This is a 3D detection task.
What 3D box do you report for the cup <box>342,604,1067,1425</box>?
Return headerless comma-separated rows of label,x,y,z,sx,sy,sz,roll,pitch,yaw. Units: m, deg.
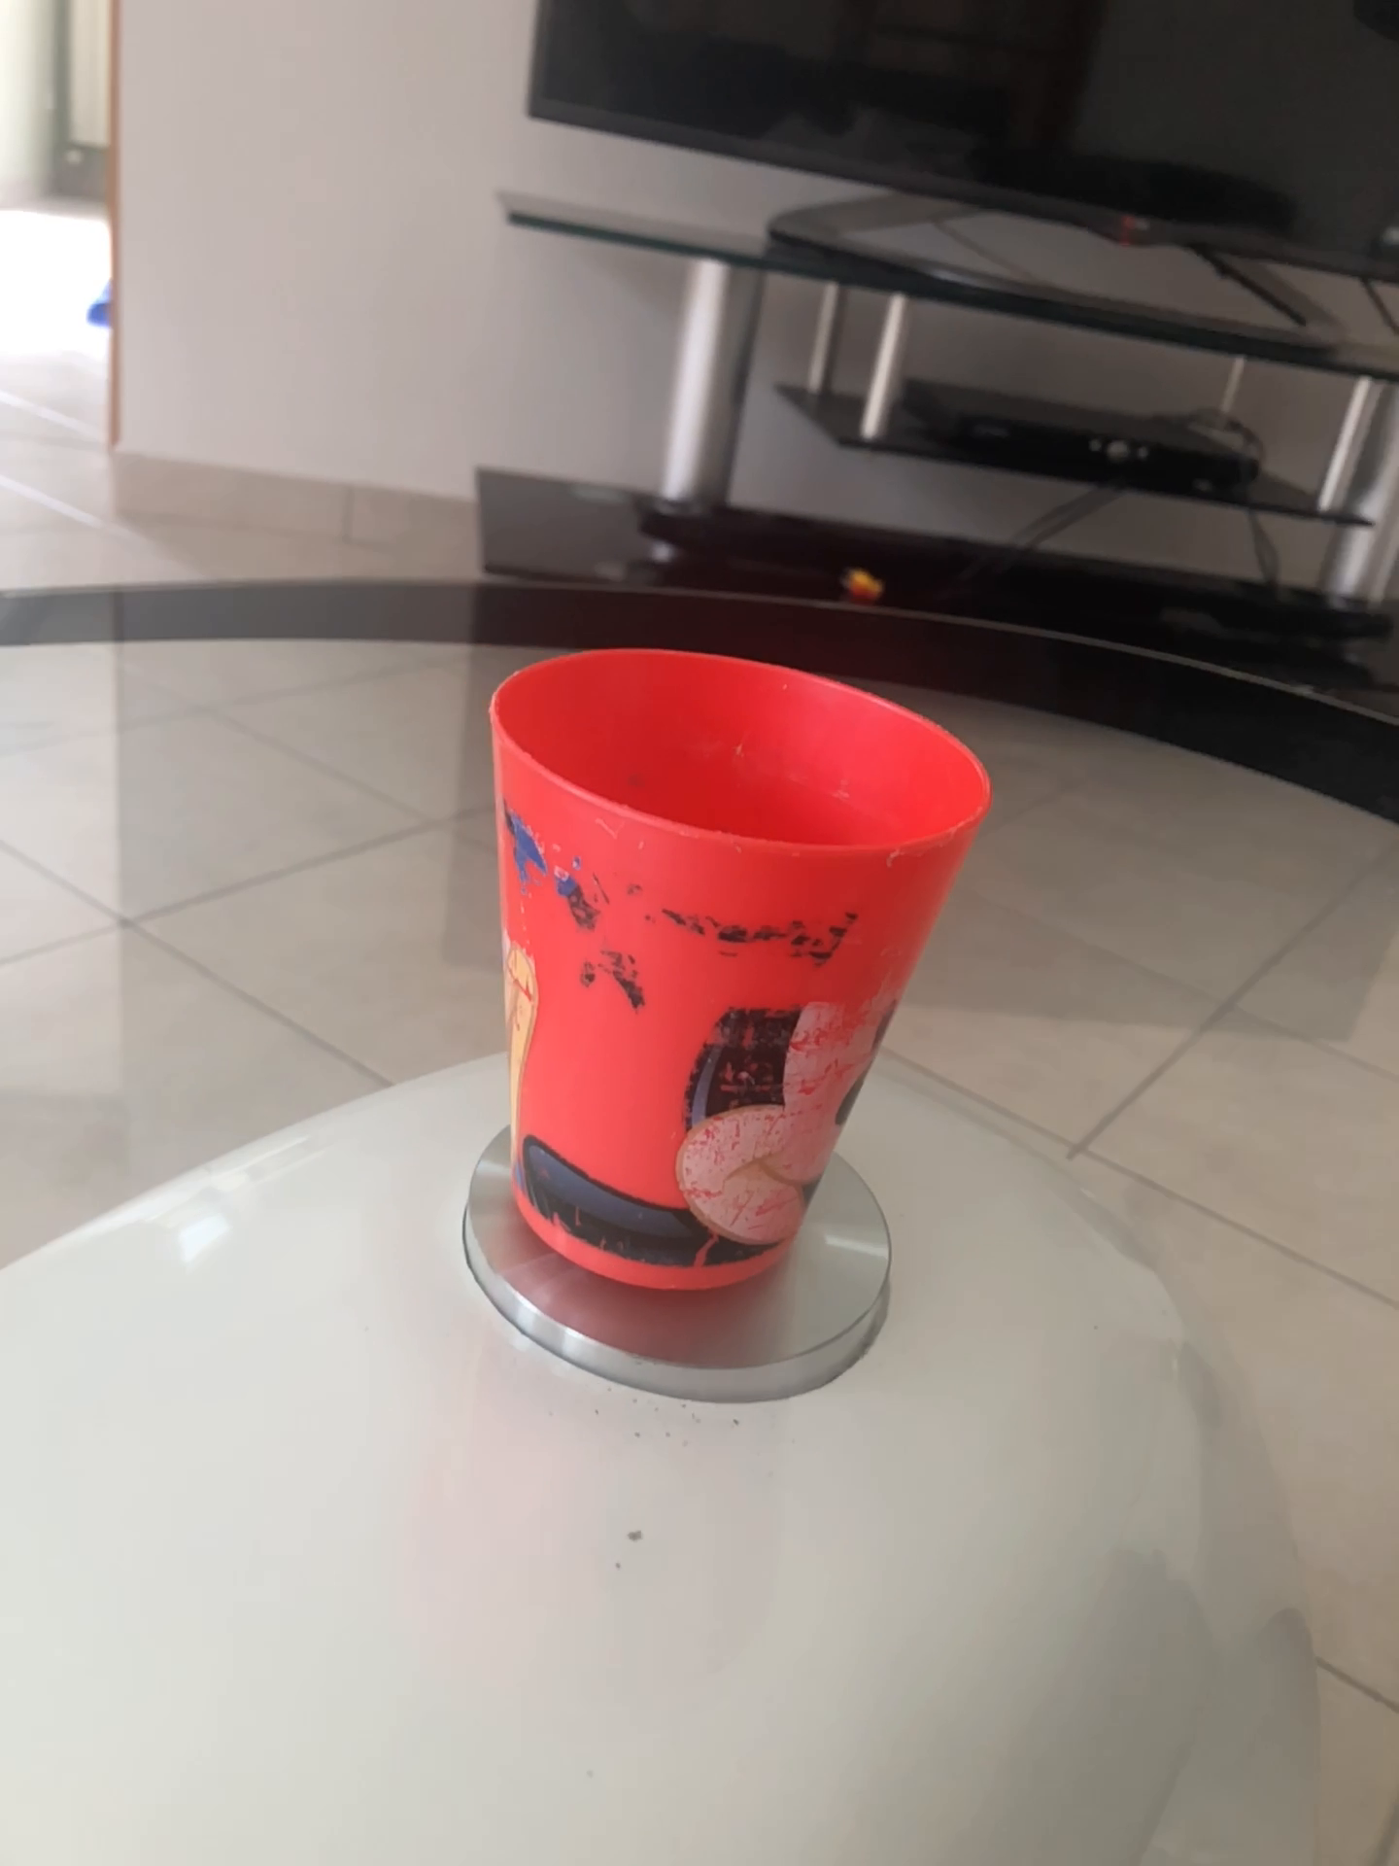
cup,0.001,0.006,0.256,0.080,0.089,0.081,9,26,-4
